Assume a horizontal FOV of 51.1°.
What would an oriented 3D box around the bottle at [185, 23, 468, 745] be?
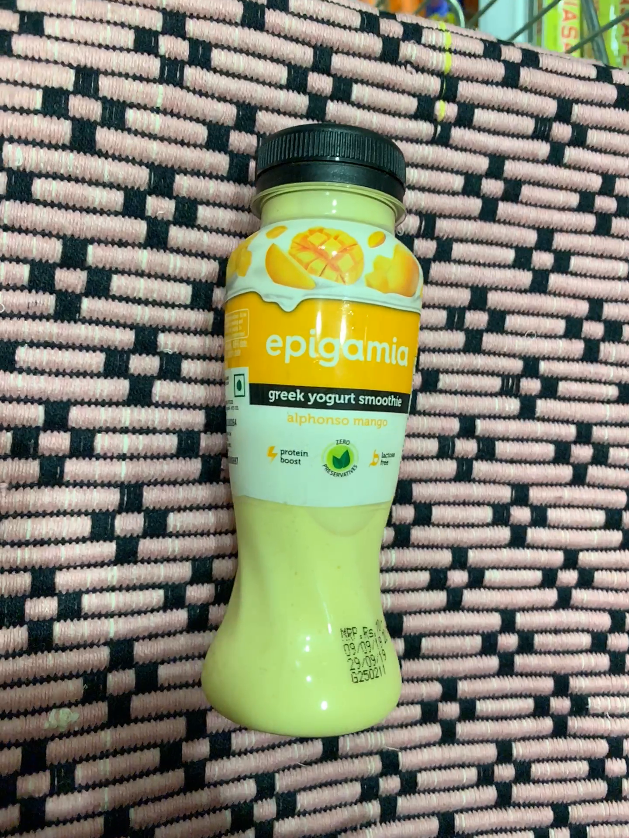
[{"bbox_3d":[-0.001,-0.007,0.180,0.060,0.060,0.160,3,87,-10],"label":"bottle"}]
